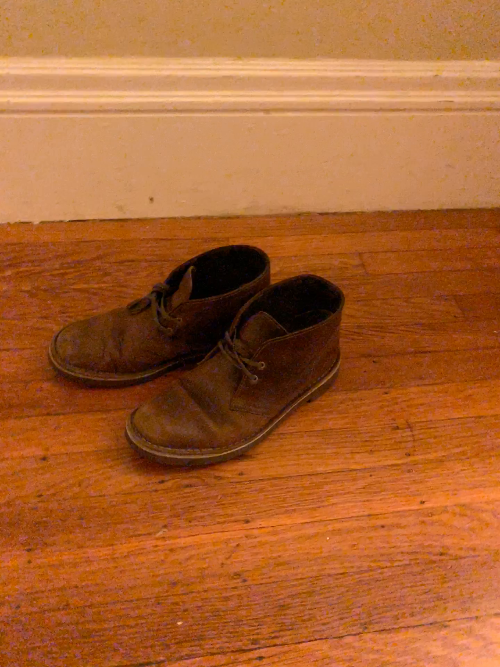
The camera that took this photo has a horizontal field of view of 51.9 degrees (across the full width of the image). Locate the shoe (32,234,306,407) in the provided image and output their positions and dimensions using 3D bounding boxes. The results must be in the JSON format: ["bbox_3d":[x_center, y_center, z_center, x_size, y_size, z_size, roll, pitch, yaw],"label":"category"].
[{"bbox_3d":[-0.096,-0.021,0.625,0.290,0.119,0.121,-9,50,-13],"label":"shoe"}]

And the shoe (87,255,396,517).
[{"bbox_3d":[-0.002,0.044,0.564,0.300,0.119,0.120,-27,56,-26],"label":"shoe"}]
